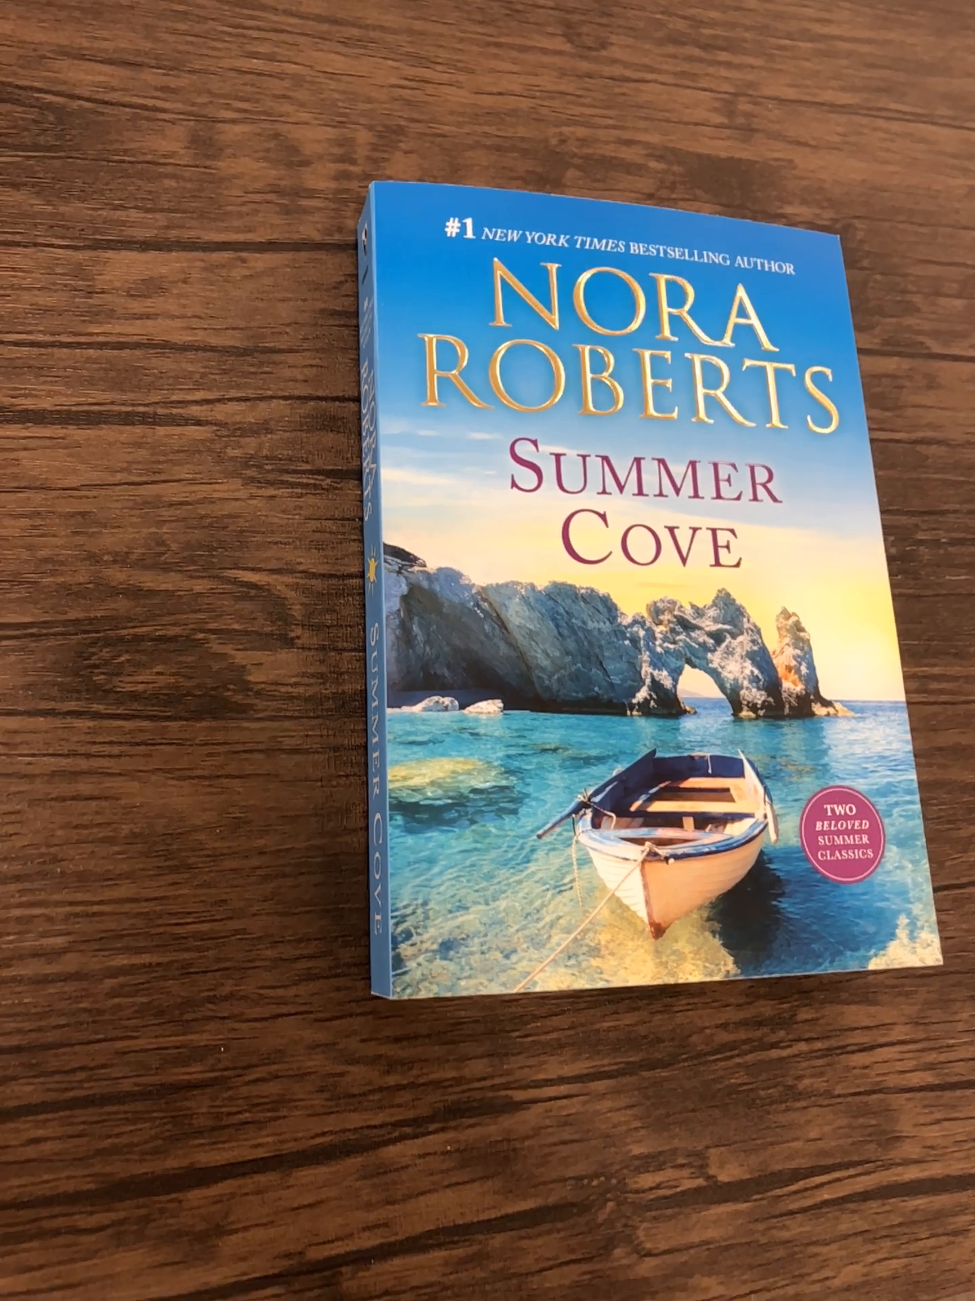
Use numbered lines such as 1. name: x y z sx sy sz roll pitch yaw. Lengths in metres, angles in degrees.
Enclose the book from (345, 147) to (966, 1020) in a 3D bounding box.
1. book: 0.038 -0.019 0.291 0.140 0.043 0.210 0 76 -16
